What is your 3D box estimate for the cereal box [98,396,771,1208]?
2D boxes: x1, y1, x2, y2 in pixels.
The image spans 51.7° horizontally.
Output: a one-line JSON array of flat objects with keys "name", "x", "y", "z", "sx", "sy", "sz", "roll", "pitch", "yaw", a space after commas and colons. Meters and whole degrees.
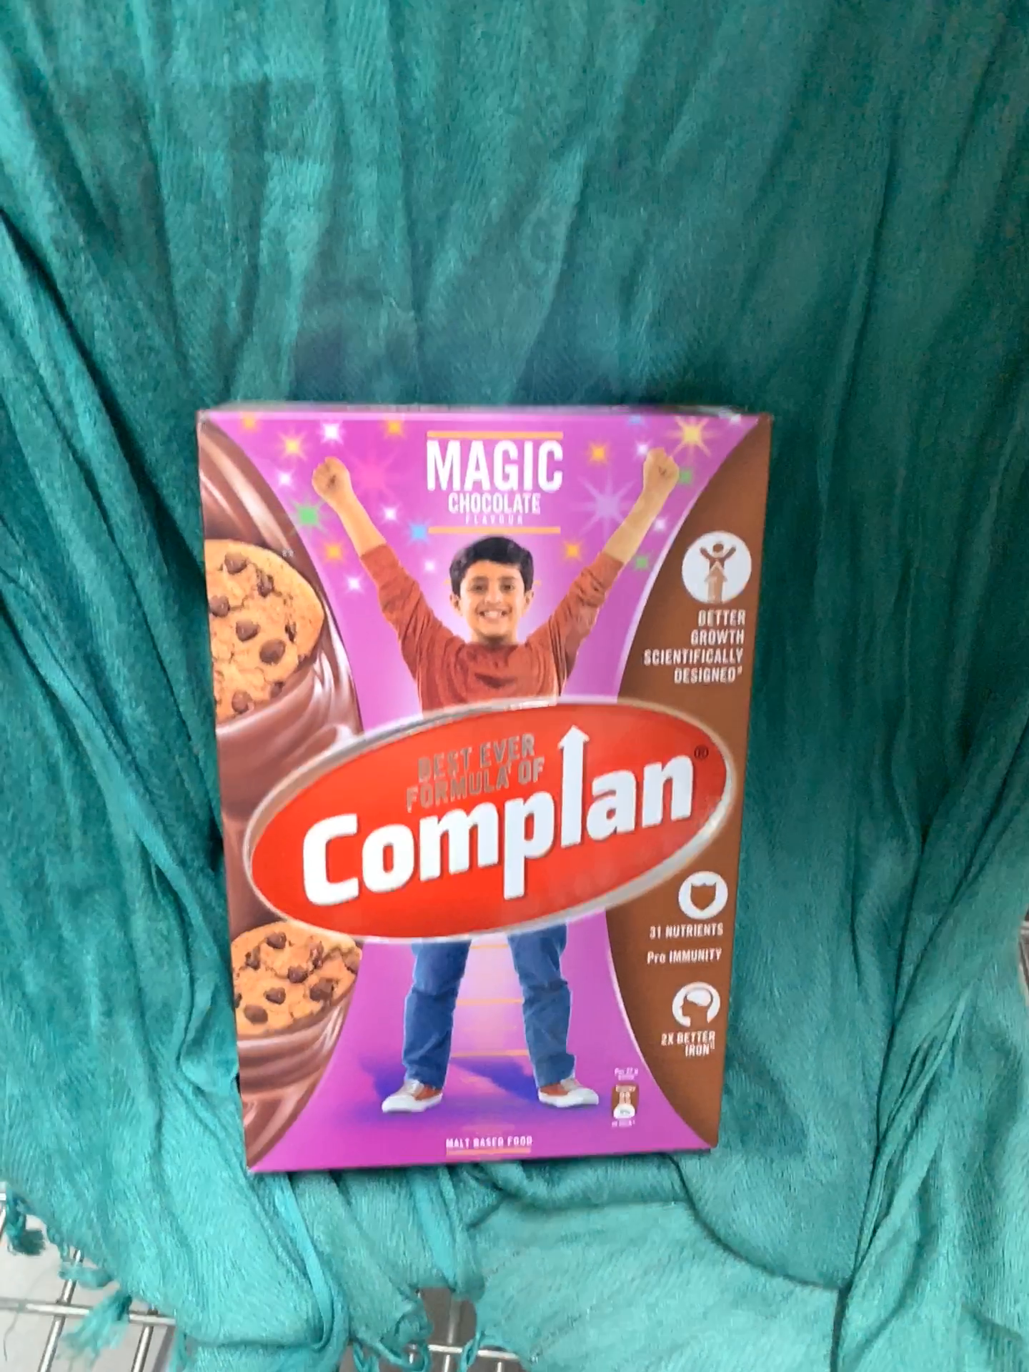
[{"name": "cereal box", "x": -0.018, "y": 0.032, "z": 0.303, "sx": 0.160, "sy": 0.220, "sz": 0.050, "roll": -1, "pitch": 14, "yaw": -4}]
